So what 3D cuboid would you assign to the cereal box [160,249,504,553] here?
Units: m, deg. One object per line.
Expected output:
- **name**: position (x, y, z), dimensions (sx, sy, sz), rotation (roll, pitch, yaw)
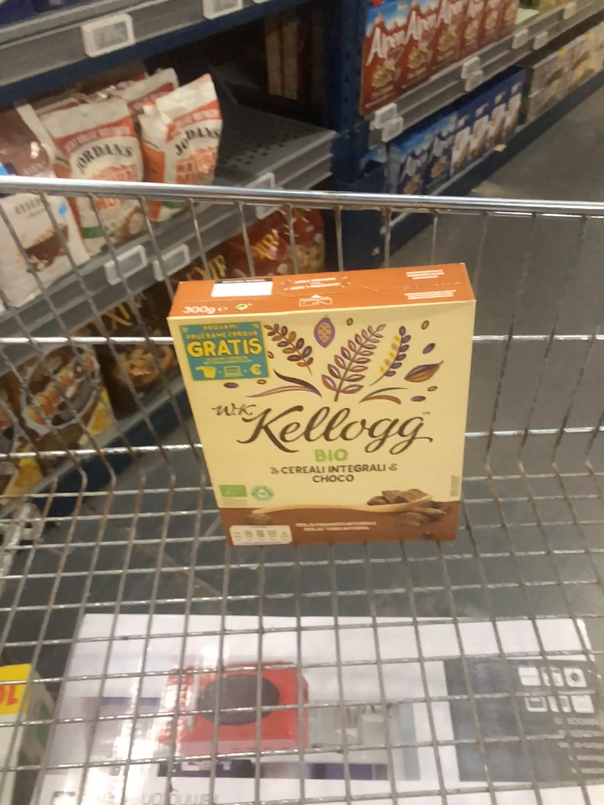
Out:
- **cereal box**: position (0.027, 0.011, 0.482), dimensions (0.200, 0.219, 0.060), rotation (-4, 40, 4)
